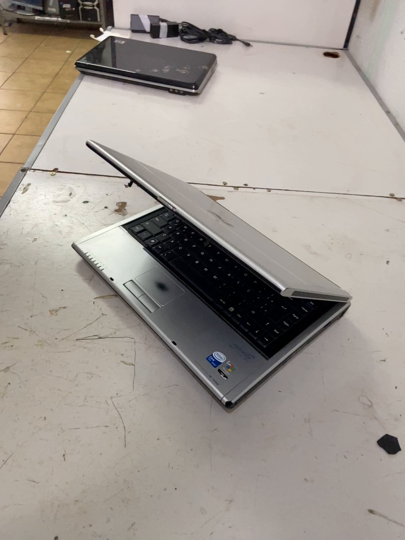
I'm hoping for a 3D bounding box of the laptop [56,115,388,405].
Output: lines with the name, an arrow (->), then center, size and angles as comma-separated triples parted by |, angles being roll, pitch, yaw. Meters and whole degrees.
laptop -> 0.008, -0.045, 0.525 | 0.227, 0.144, 0.320 | -29, 53, -31
